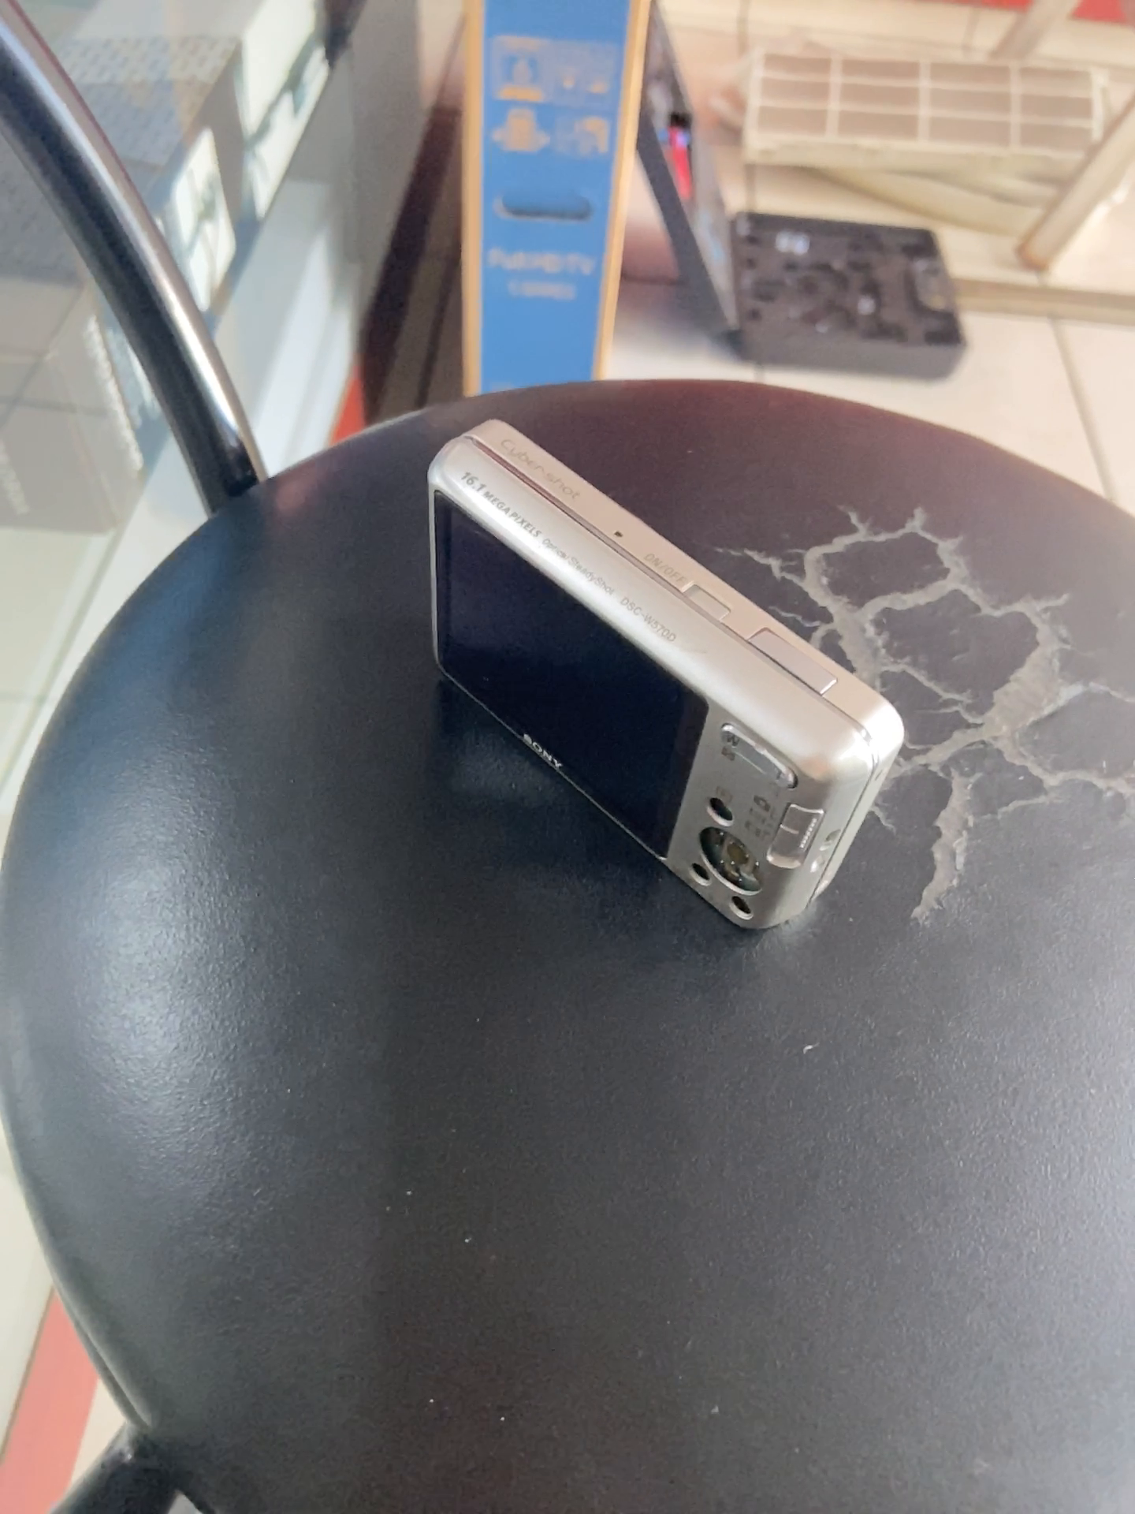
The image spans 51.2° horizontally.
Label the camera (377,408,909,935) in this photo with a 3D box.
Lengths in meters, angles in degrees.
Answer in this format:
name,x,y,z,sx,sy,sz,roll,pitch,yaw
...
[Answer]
name,x,y,z,sx,sy,sz,roll,pitch,yaw
camera,0.008,-0.016,0.202,0.092,0.042,0.022,39,59,22
